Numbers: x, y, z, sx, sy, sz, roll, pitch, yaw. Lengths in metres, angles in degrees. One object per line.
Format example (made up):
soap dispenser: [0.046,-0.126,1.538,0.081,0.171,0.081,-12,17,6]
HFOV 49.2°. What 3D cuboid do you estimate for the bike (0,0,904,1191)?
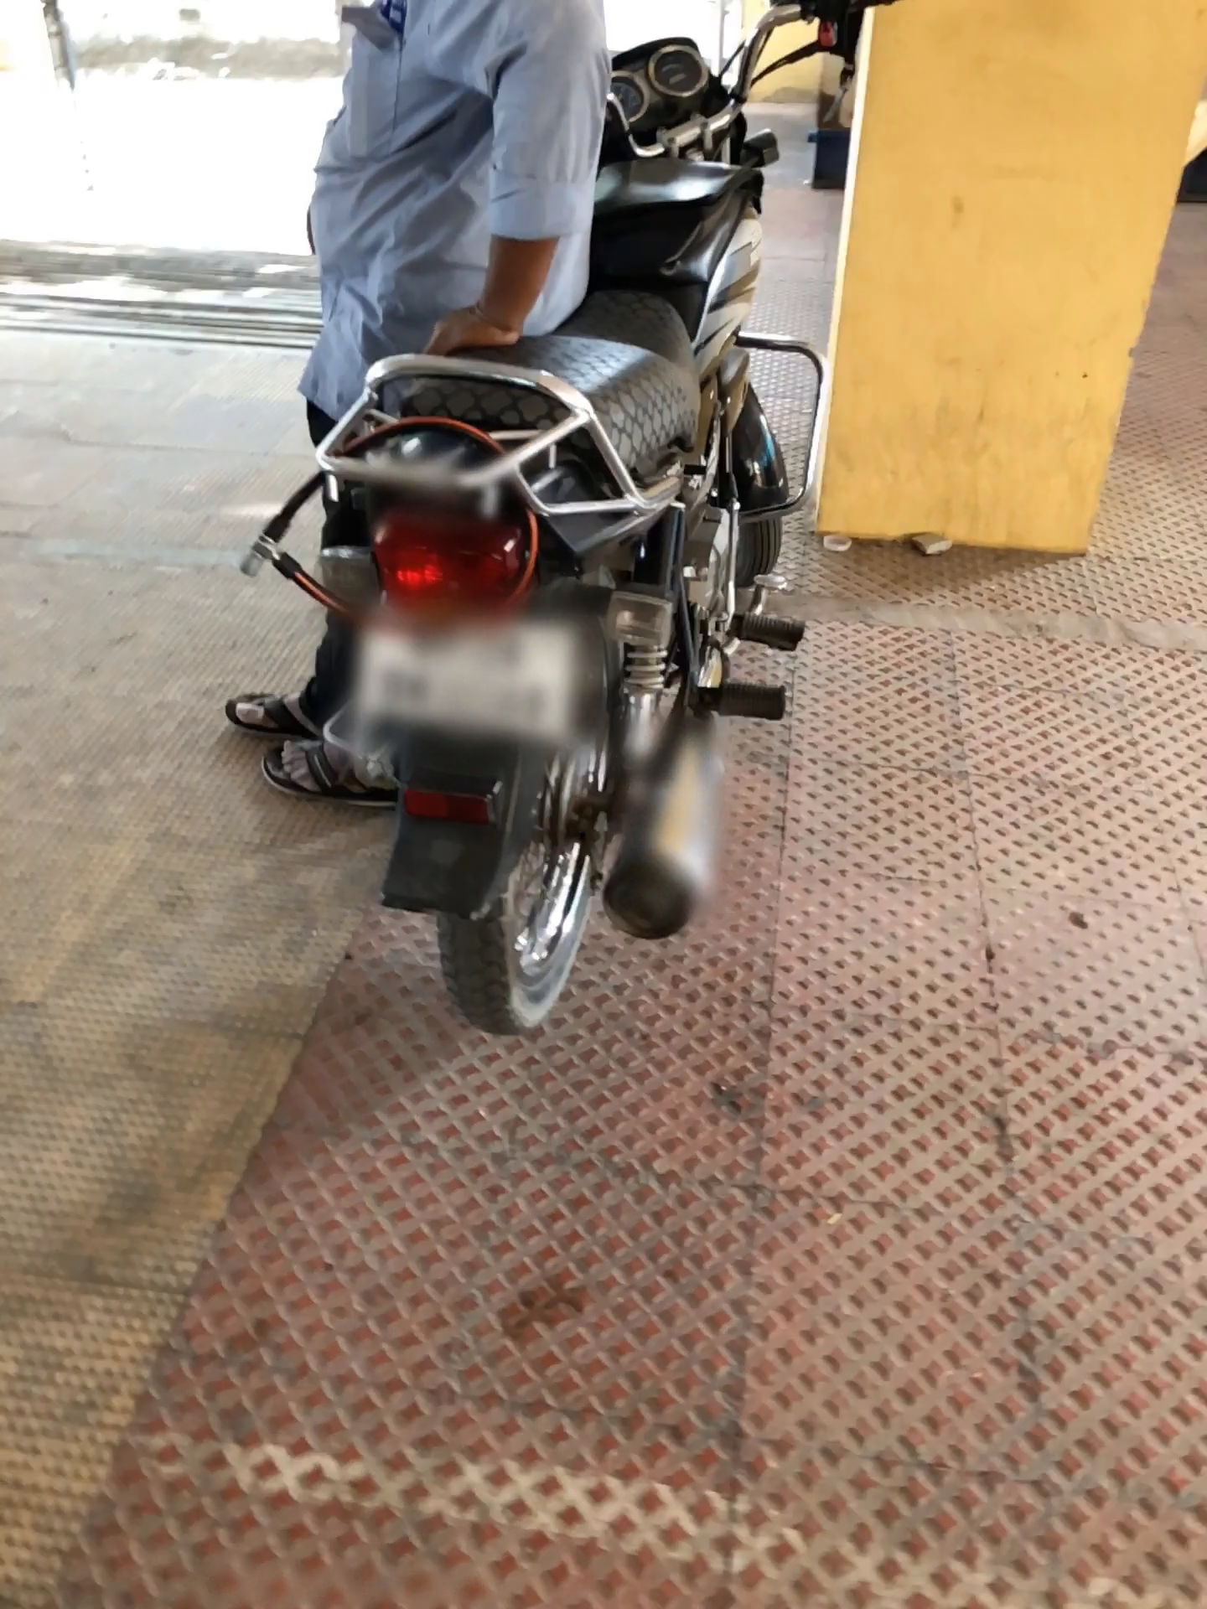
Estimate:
bike: [-0.027,-0.560,1.873,0.677,1.036,1.687,6,38,7]
